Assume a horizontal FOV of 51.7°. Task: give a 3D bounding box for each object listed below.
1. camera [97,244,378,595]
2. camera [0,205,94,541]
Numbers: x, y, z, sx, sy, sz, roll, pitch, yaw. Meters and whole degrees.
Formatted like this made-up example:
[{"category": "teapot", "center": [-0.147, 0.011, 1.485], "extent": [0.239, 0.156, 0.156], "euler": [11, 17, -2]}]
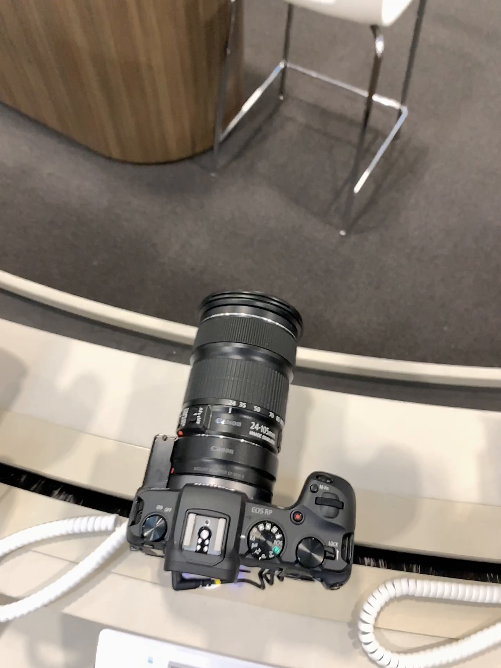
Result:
[{"category": "camera", "center": [0.003, 0.057, 0.354], "extent": [0.140, 0.100, 0.200], "euler": [7, 63, 4]}, {"category": "camera", "center": [-0.233, 0.030, 0.367], "extent": [0.150, 0.120, 0.170], "euler": [16, 64, 8]}]
